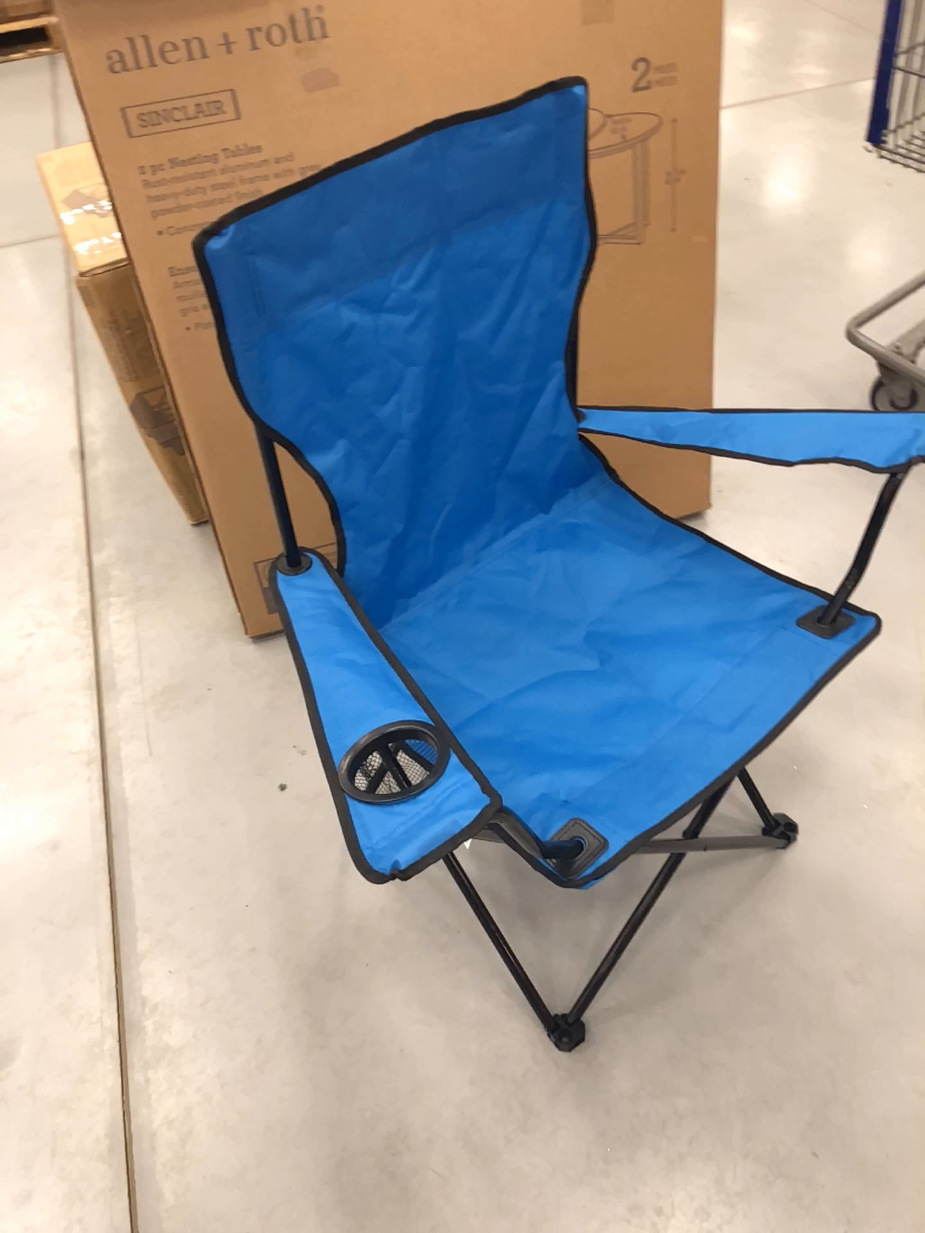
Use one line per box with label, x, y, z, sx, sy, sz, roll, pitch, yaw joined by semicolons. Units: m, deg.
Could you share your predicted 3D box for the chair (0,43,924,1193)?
chair;0.089;-0.023;1.149;0.791;0.837;0.622;-34;52;-25
